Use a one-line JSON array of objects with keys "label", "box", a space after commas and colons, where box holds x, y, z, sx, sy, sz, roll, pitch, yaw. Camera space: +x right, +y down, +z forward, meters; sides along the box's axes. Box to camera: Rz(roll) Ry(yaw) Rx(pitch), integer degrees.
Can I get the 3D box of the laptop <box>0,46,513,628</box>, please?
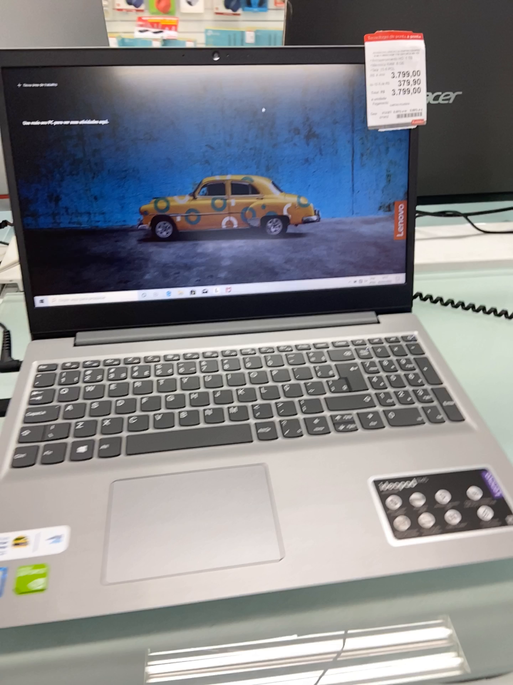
[{"label": "laptop", "box": [-0.013, -0.055, 0.380, 0.364, 0.213, 0.362, -4, 39, -7]}]
